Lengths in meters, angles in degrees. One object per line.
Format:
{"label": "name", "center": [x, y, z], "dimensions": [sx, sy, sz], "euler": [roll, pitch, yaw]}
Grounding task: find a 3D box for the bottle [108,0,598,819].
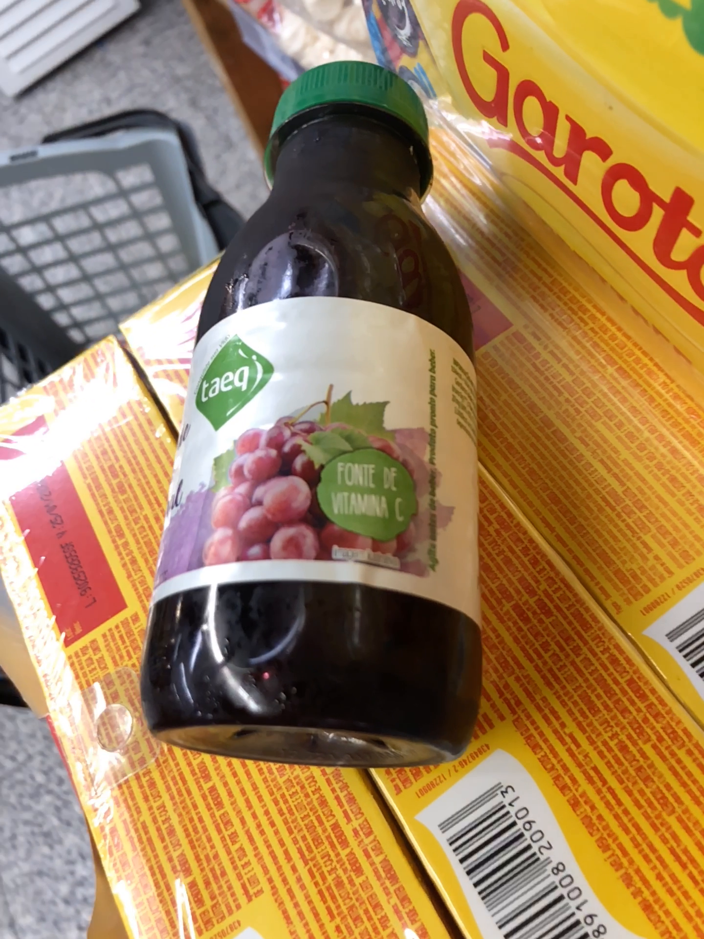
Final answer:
{"label": "bottle", "center": [0.009, -0.022, 0.169], "dimensions": [0.070, 0.050, 0.171], "euler": [-4, 62, 16]}
